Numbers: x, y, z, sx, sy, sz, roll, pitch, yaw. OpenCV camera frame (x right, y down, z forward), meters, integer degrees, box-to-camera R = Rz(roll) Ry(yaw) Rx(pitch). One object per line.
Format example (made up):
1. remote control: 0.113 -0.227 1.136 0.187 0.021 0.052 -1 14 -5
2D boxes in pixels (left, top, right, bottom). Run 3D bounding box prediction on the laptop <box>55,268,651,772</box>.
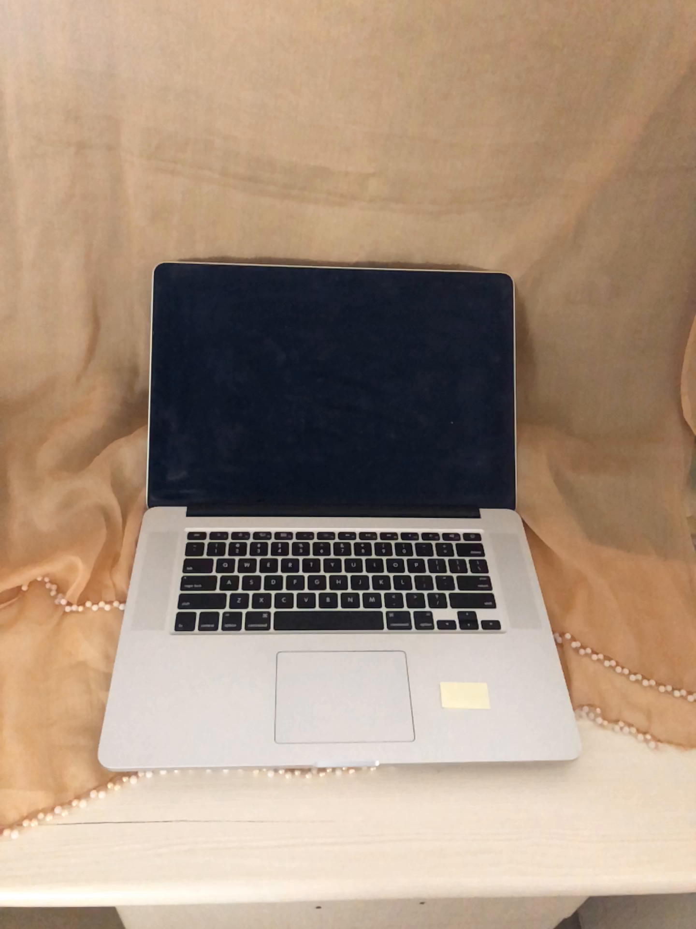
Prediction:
1. laptop: -0.005 0.014 0.621 0.336 0.135 0.408 0 46 -4
